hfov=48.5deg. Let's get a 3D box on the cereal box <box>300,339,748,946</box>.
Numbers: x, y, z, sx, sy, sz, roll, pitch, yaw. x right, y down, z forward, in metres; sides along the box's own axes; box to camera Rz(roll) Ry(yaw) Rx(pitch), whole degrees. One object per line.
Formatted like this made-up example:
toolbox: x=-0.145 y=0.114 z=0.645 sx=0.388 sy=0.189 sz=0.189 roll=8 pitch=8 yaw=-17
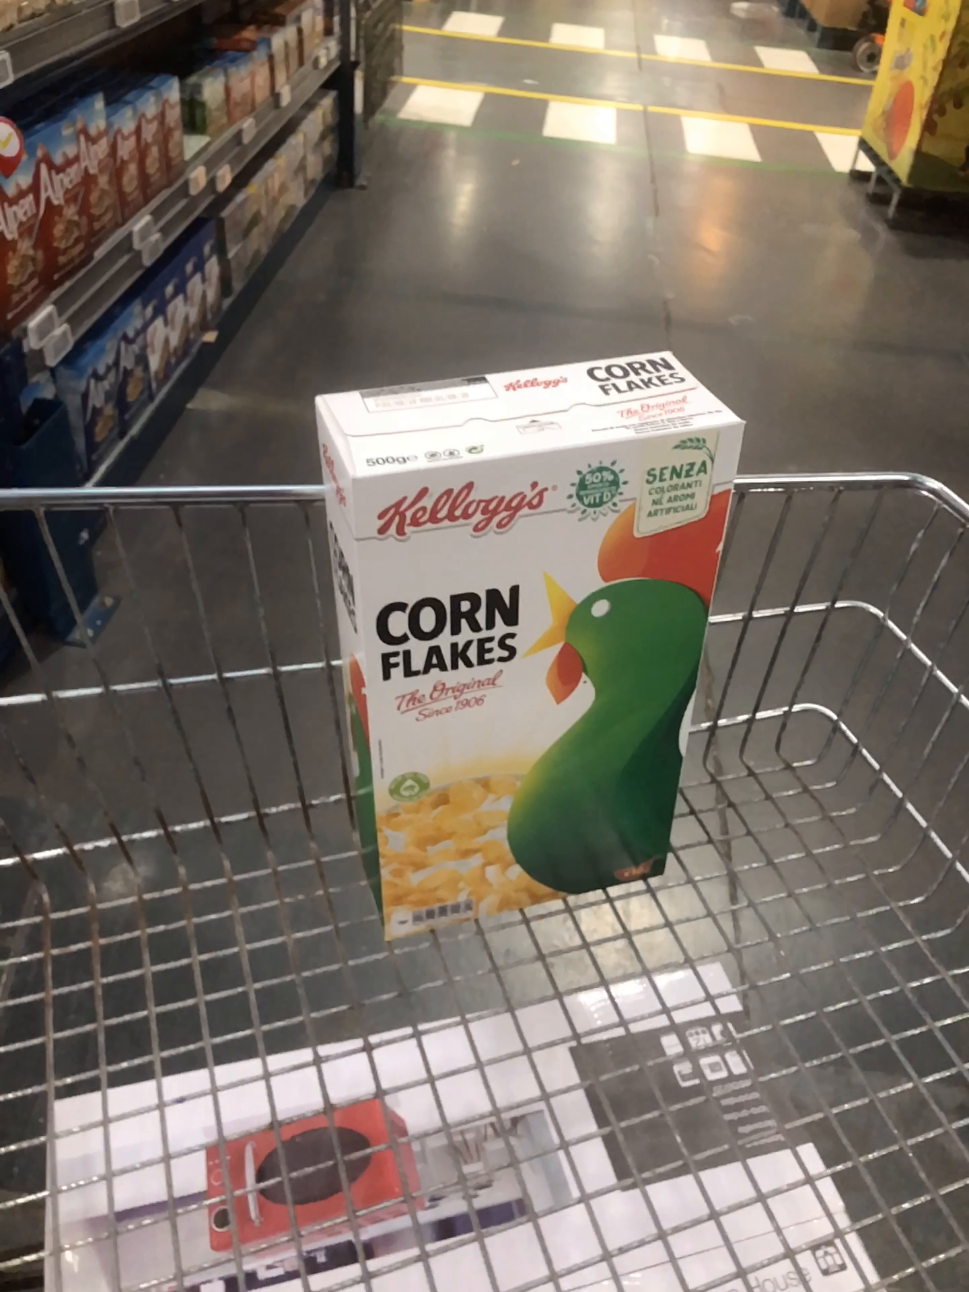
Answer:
cereal box: x=0.013 y=0.012 z=0.608 sx=0.190 sy=0.328 sz=0.090 roll=-11 pitch=41 yaw=-14
